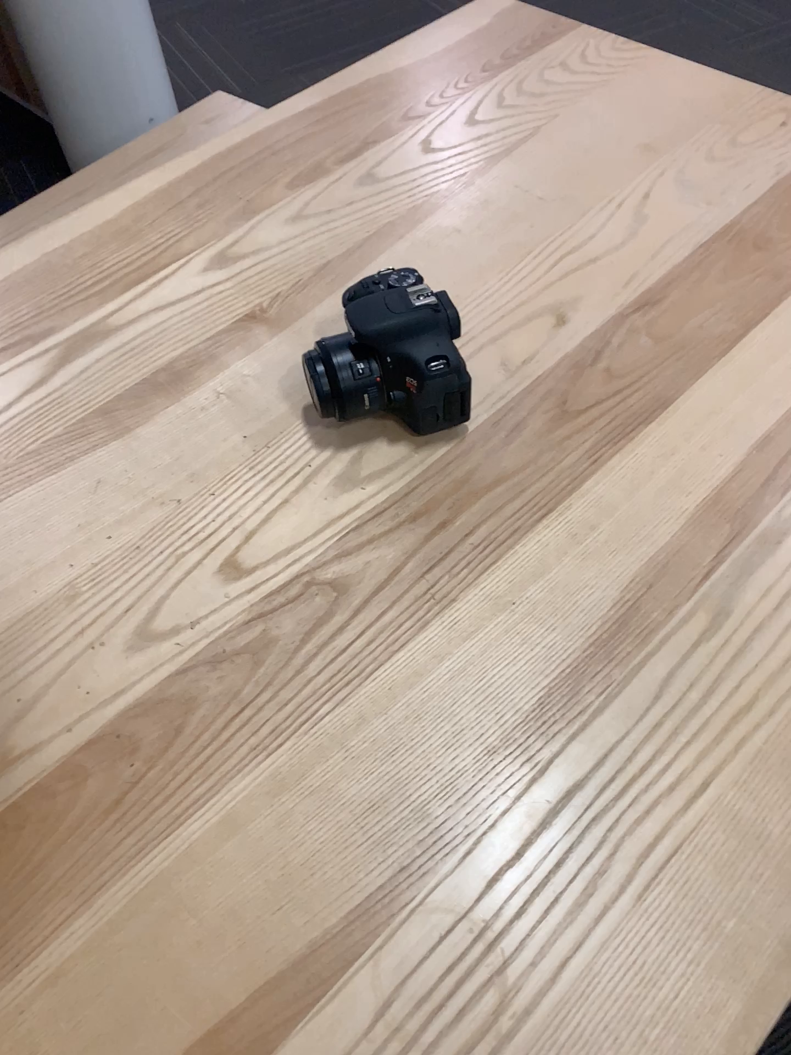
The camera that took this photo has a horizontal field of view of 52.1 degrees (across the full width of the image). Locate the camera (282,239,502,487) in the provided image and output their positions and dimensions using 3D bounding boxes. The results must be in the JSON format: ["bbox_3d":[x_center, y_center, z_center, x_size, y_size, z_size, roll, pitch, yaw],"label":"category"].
[{"bbox_3d":[-0.005,-0.132,0.635,0.120,0.100,0.145,-18,50,-11],"label":"camera"}]
